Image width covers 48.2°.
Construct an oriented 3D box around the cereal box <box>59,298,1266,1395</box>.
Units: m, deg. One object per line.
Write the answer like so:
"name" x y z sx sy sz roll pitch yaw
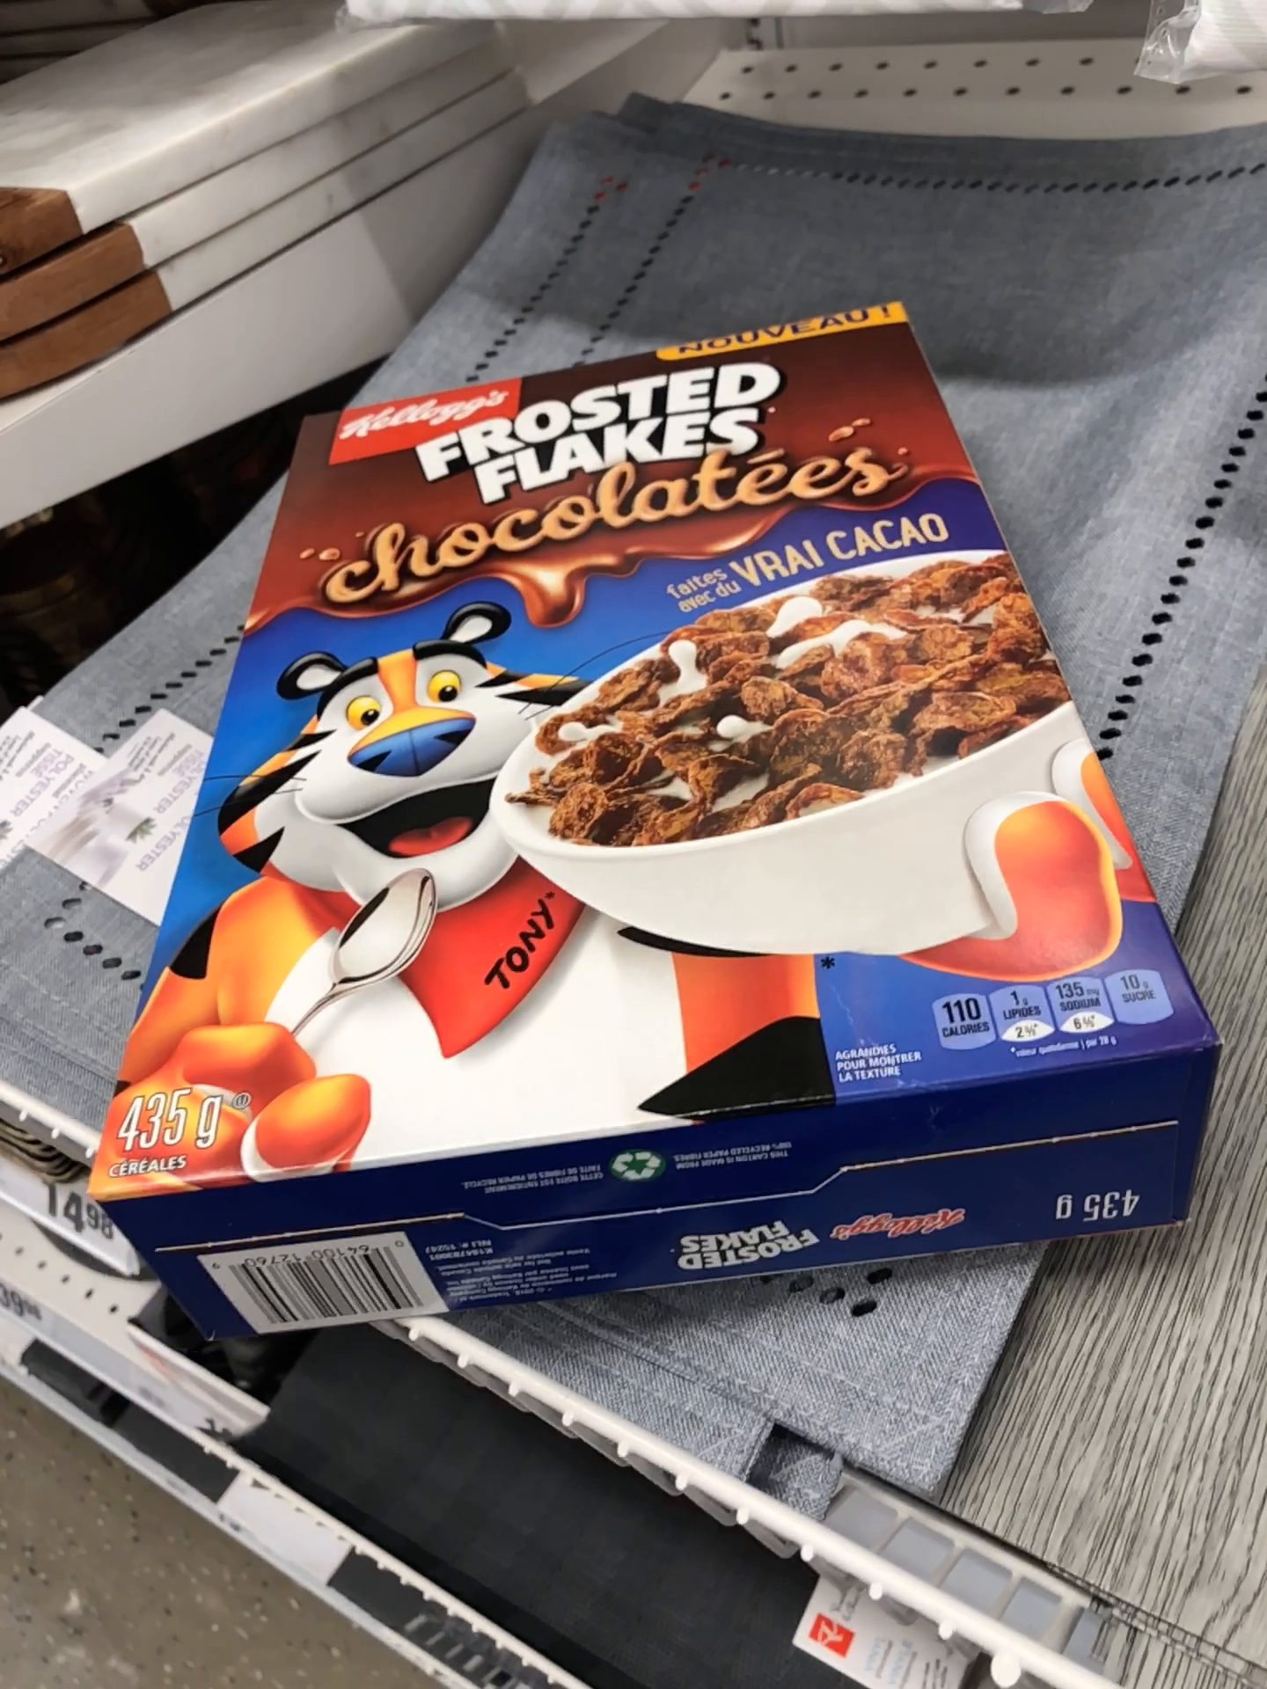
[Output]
"cereal box" 0.002 -0.031 0.378 0.210 0.070 0.311 -9 42 5
